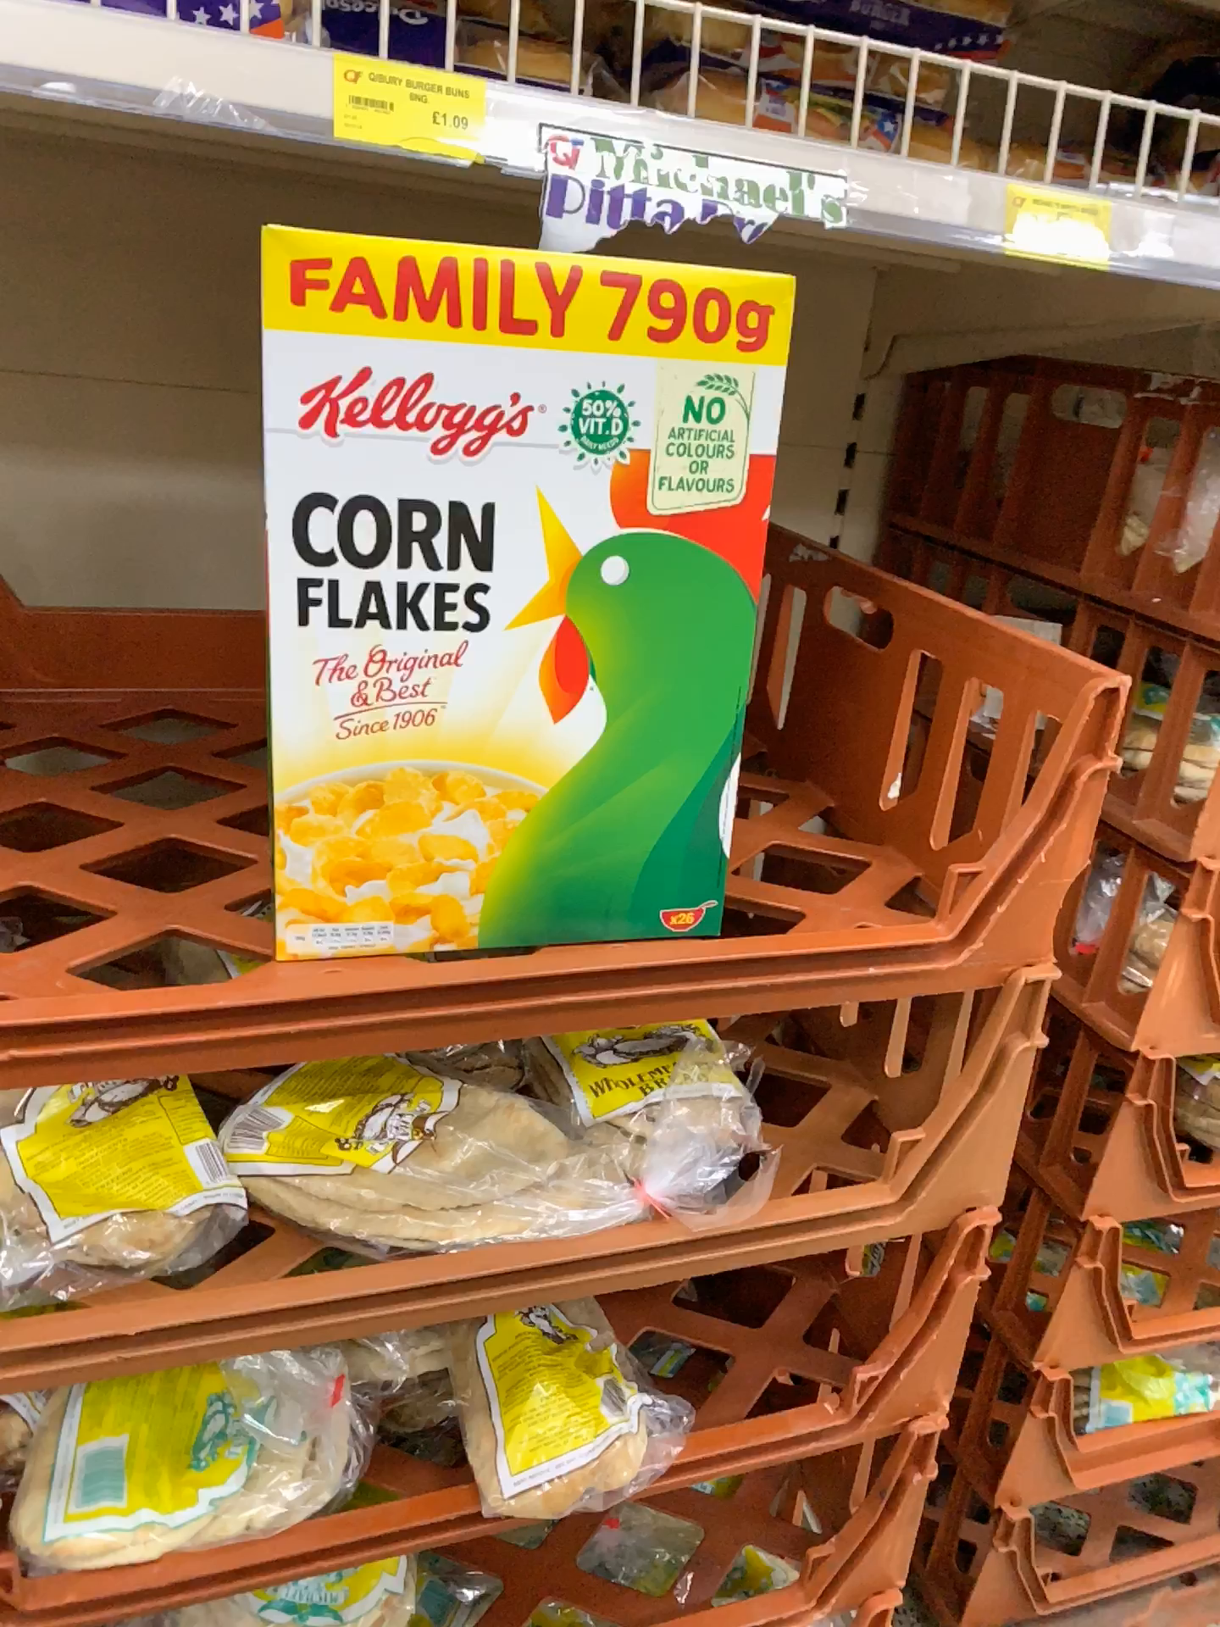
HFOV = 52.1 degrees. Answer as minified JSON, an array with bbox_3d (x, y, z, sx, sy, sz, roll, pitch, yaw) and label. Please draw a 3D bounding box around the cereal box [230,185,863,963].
[{"bbox_3d":[-0.046,-0.105,0.620,0.270,0.337,0.091,-1,22,-18],"label":"cereal box"}]
